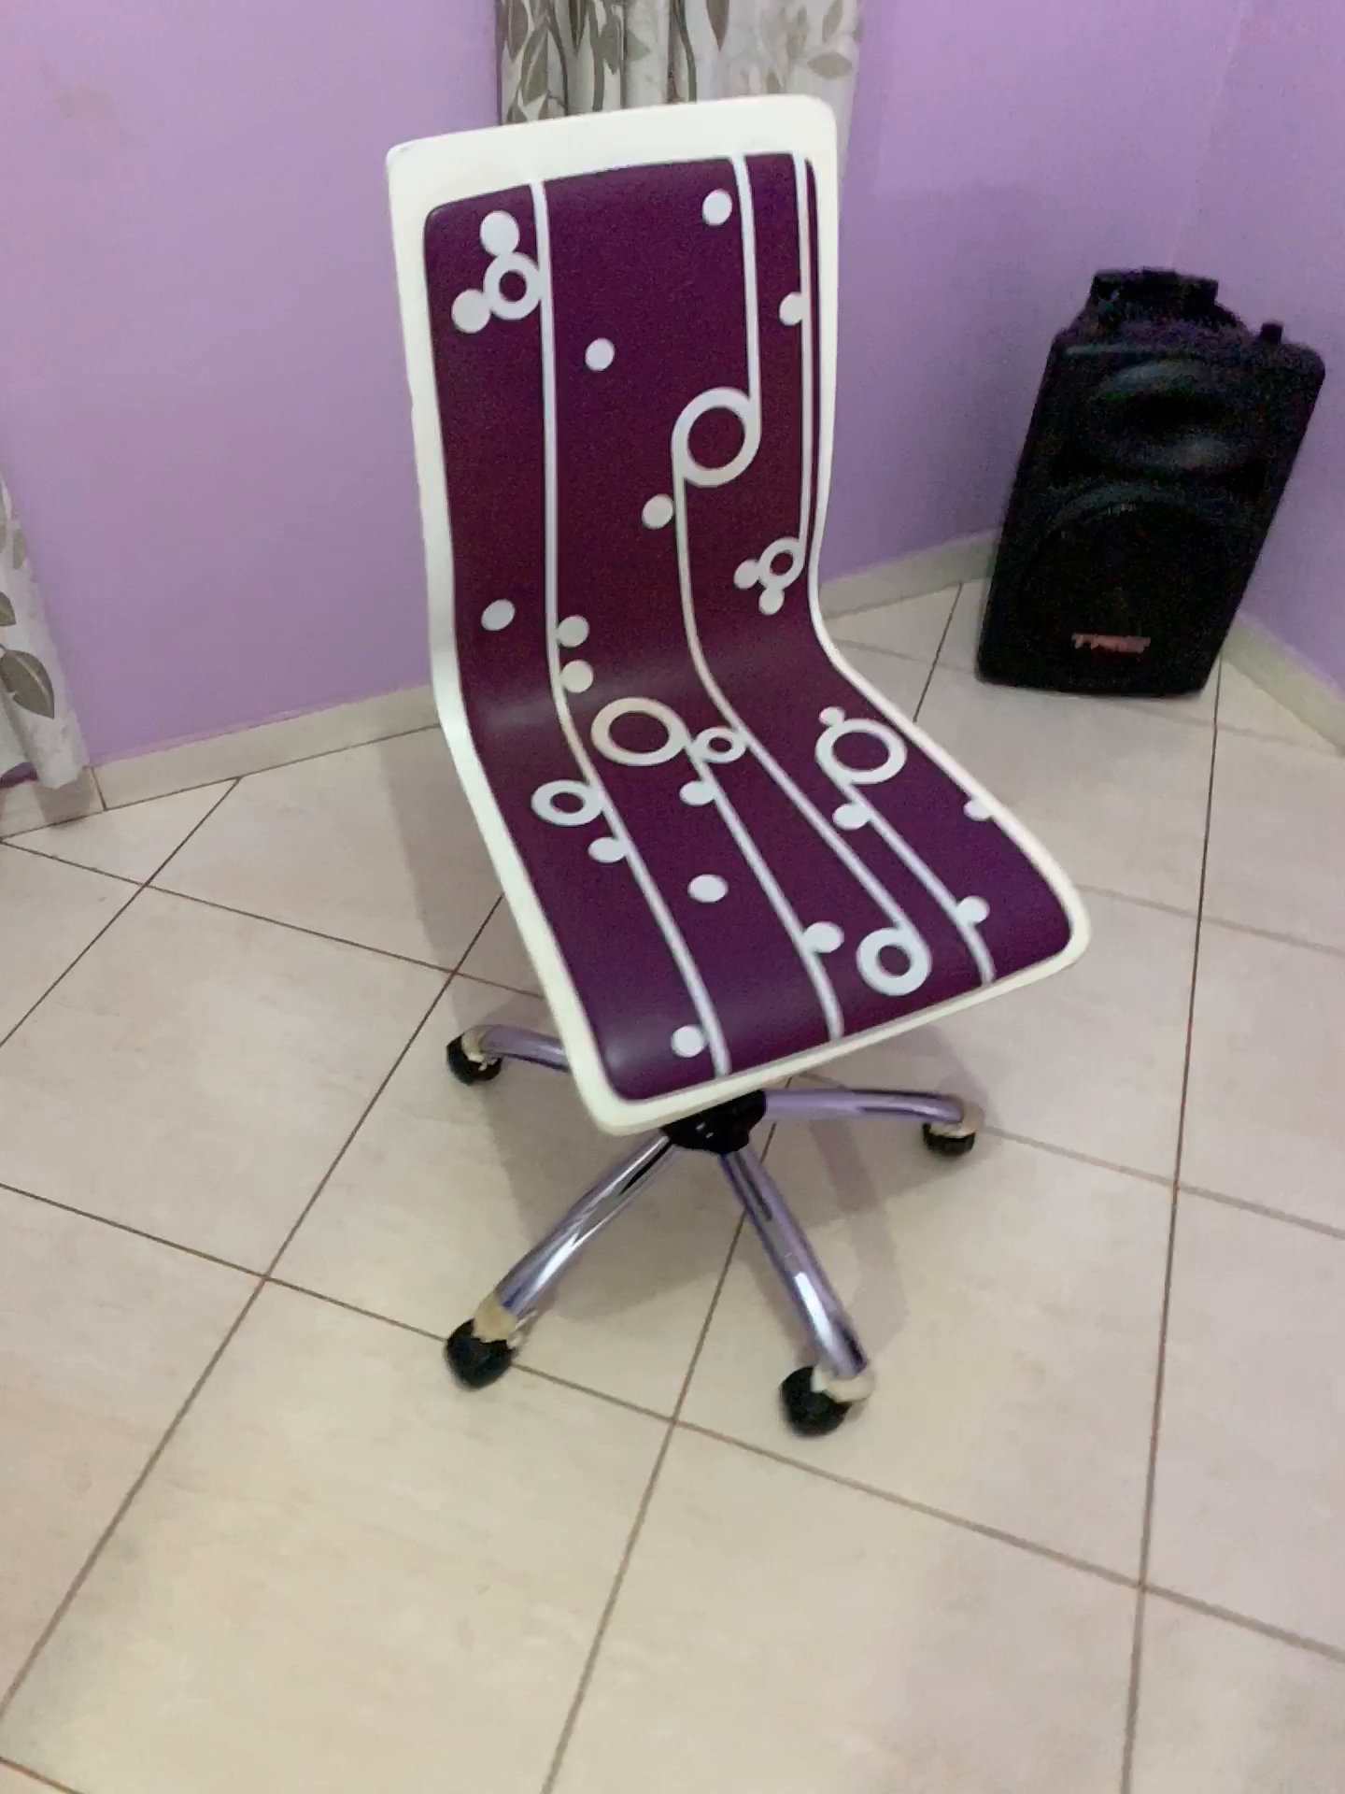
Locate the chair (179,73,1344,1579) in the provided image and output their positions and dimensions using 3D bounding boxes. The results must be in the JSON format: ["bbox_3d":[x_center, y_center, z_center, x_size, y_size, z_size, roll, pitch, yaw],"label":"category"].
[{"bbox_3d":[0.077,-0.038,1.186,0.686,1.005,0.624,-15,47,-18],"label":"chair"}]
